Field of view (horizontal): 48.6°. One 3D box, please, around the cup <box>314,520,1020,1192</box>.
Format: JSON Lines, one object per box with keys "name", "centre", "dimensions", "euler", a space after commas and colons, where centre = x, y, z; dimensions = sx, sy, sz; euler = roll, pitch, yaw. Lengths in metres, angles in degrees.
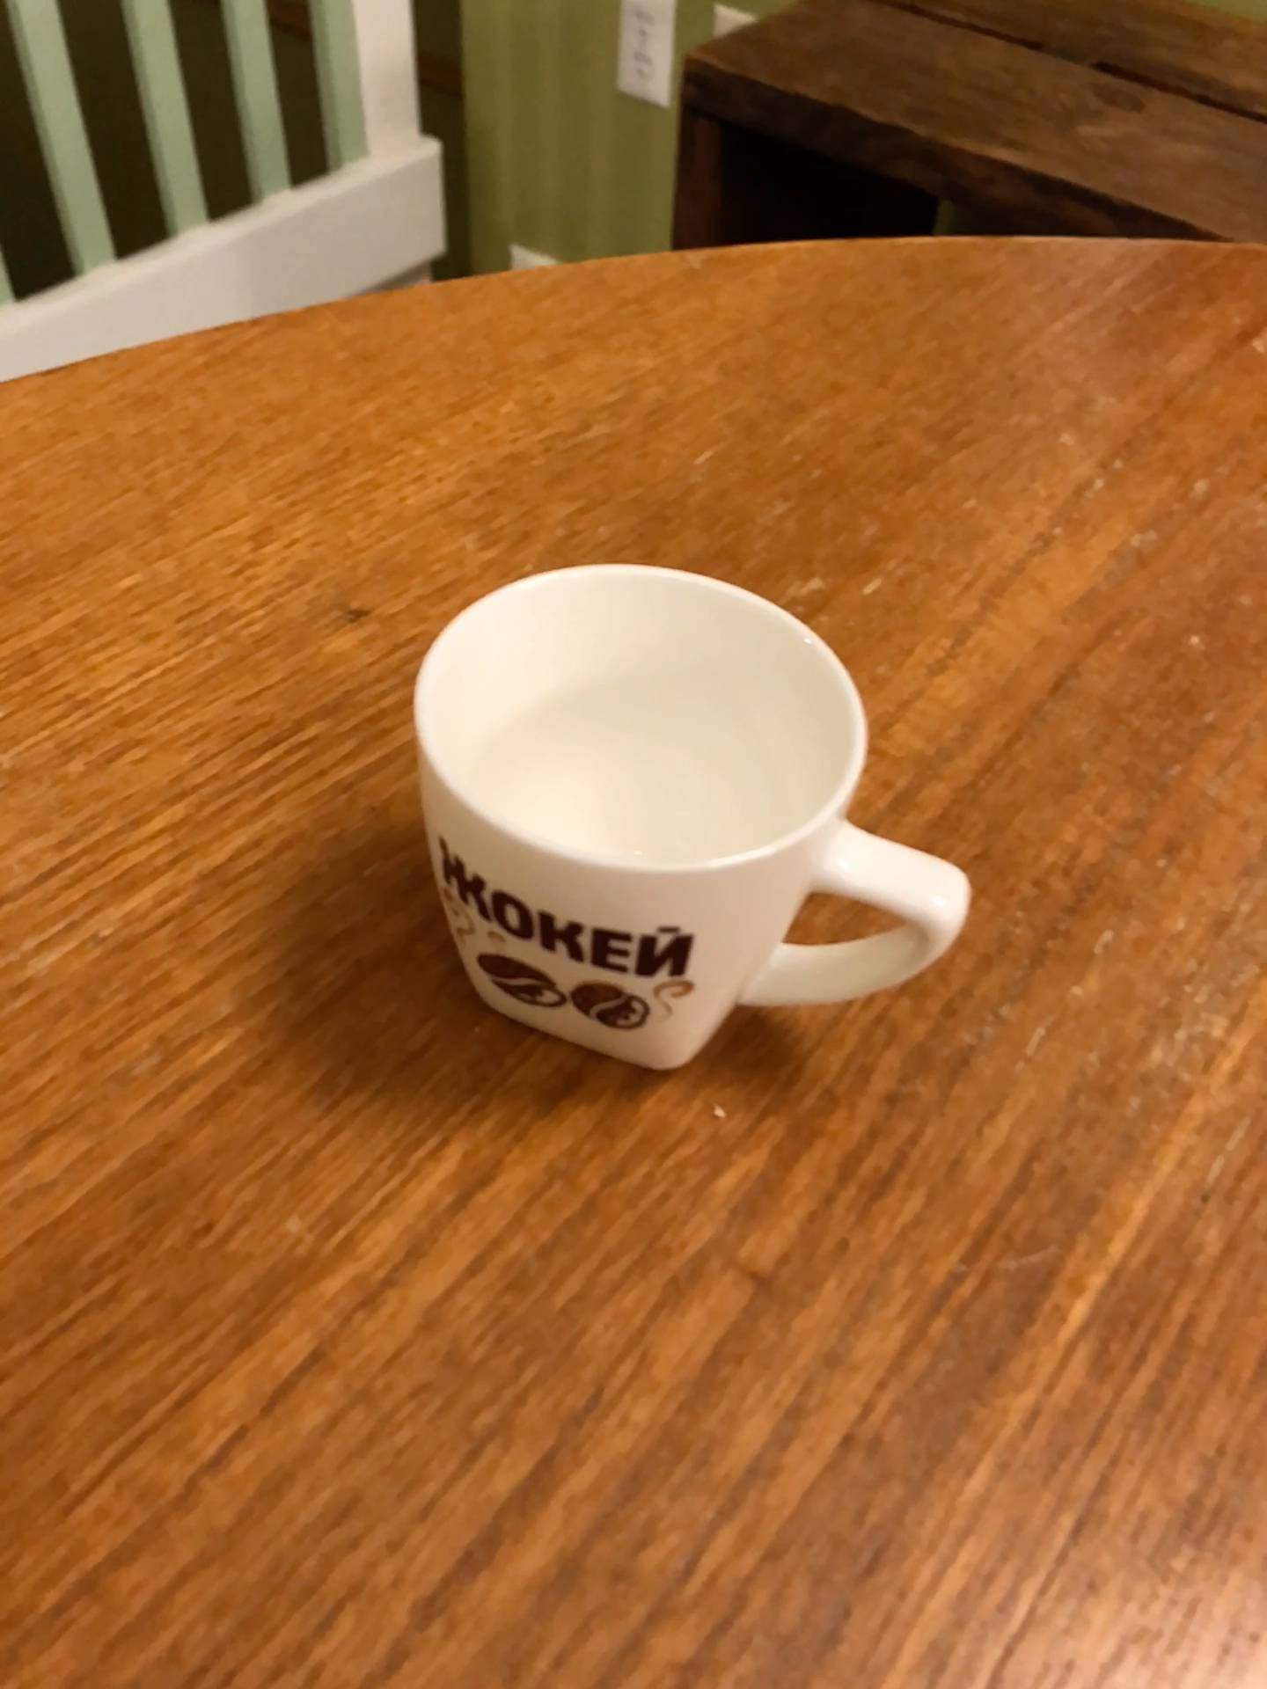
{"name": "cup", "centre": [0.006, -0.001, 0.201], "dimensions": [0.075, 0.047, 0.060], "euler": [19, 49, 13]}
